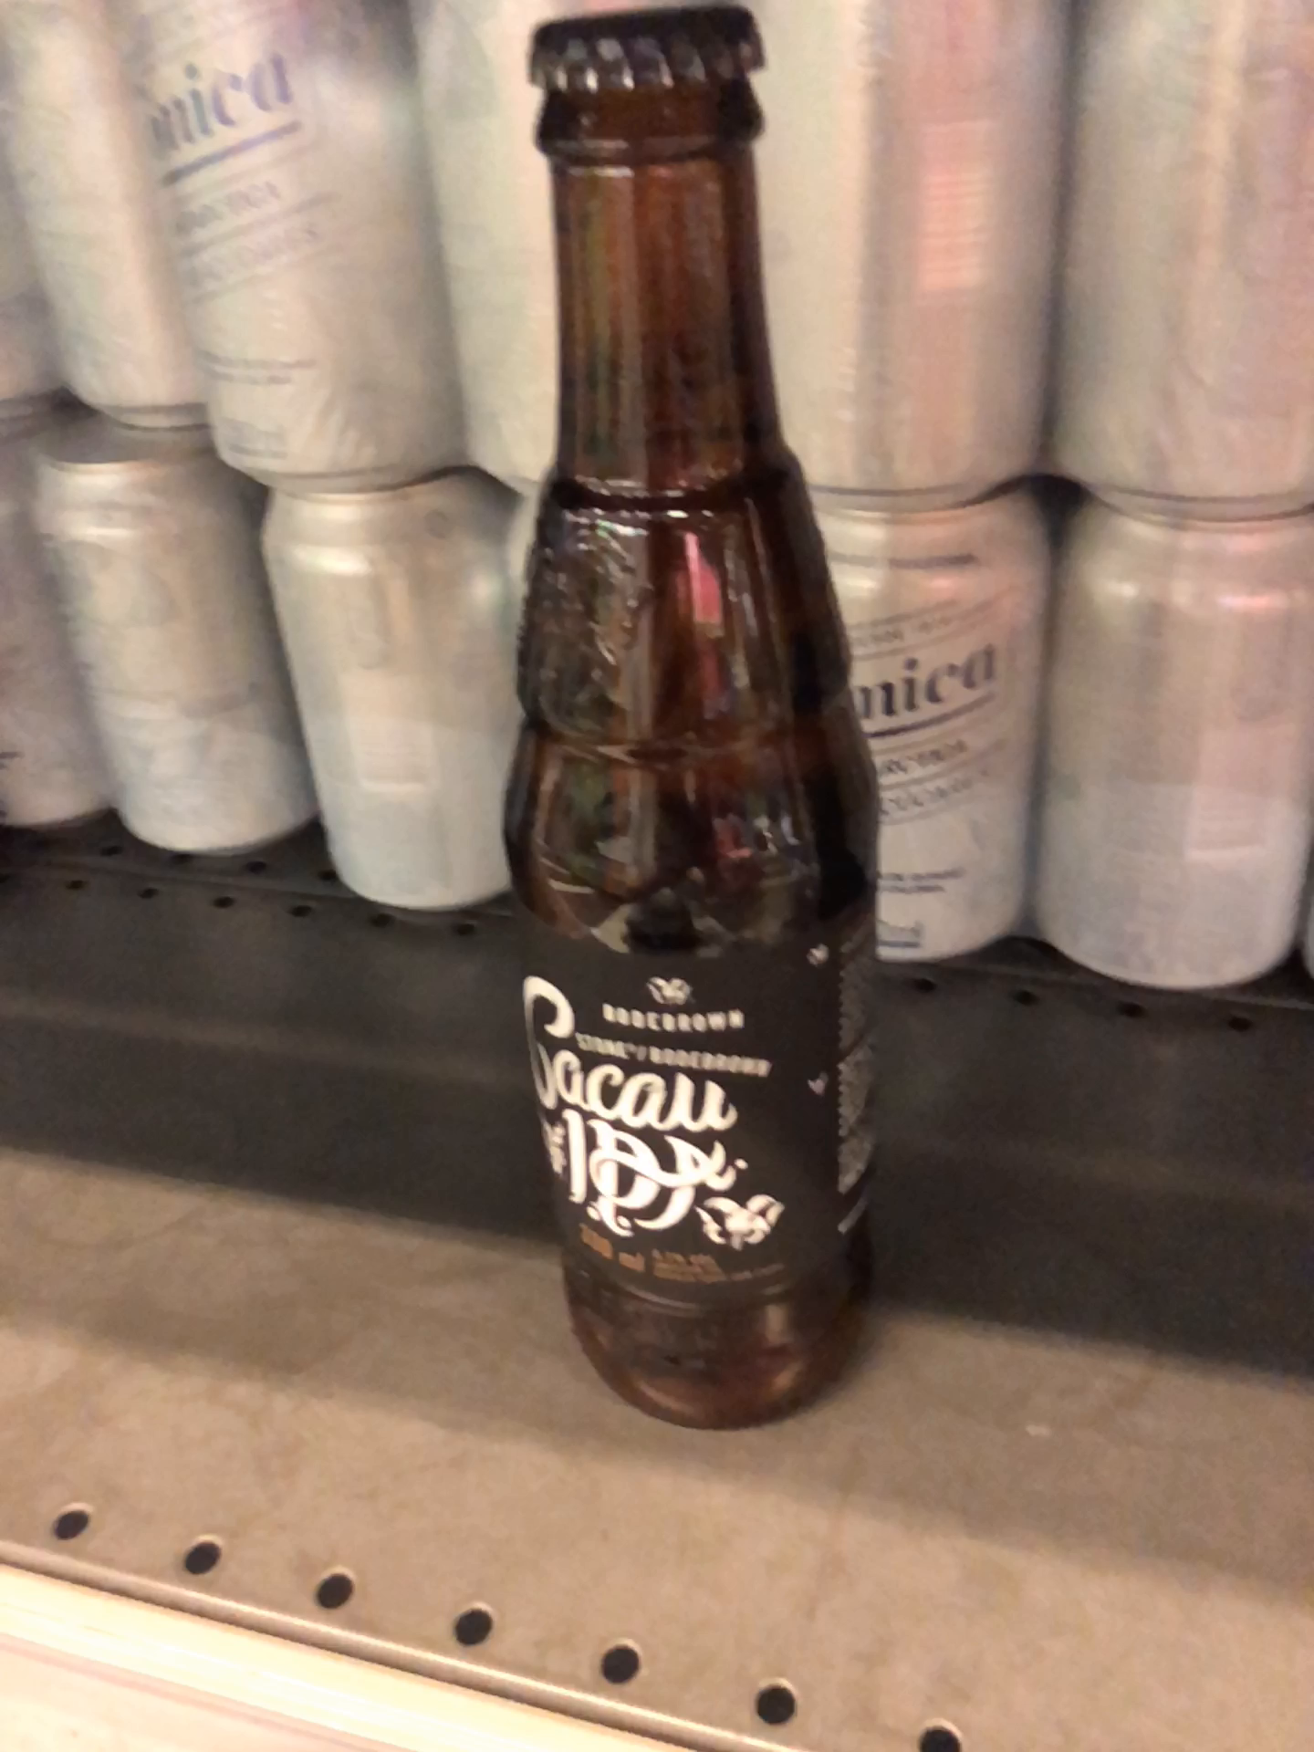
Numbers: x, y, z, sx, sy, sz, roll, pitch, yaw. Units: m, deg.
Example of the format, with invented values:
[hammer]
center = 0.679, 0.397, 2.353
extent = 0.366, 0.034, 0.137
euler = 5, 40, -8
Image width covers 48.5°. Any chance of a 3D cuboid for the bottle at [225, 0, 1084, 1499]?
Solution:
[bottle]
center = 0.011, -0.013, 0.243
extent = 0.080, 0.248, 0.070
euler = 12, 38, 22
